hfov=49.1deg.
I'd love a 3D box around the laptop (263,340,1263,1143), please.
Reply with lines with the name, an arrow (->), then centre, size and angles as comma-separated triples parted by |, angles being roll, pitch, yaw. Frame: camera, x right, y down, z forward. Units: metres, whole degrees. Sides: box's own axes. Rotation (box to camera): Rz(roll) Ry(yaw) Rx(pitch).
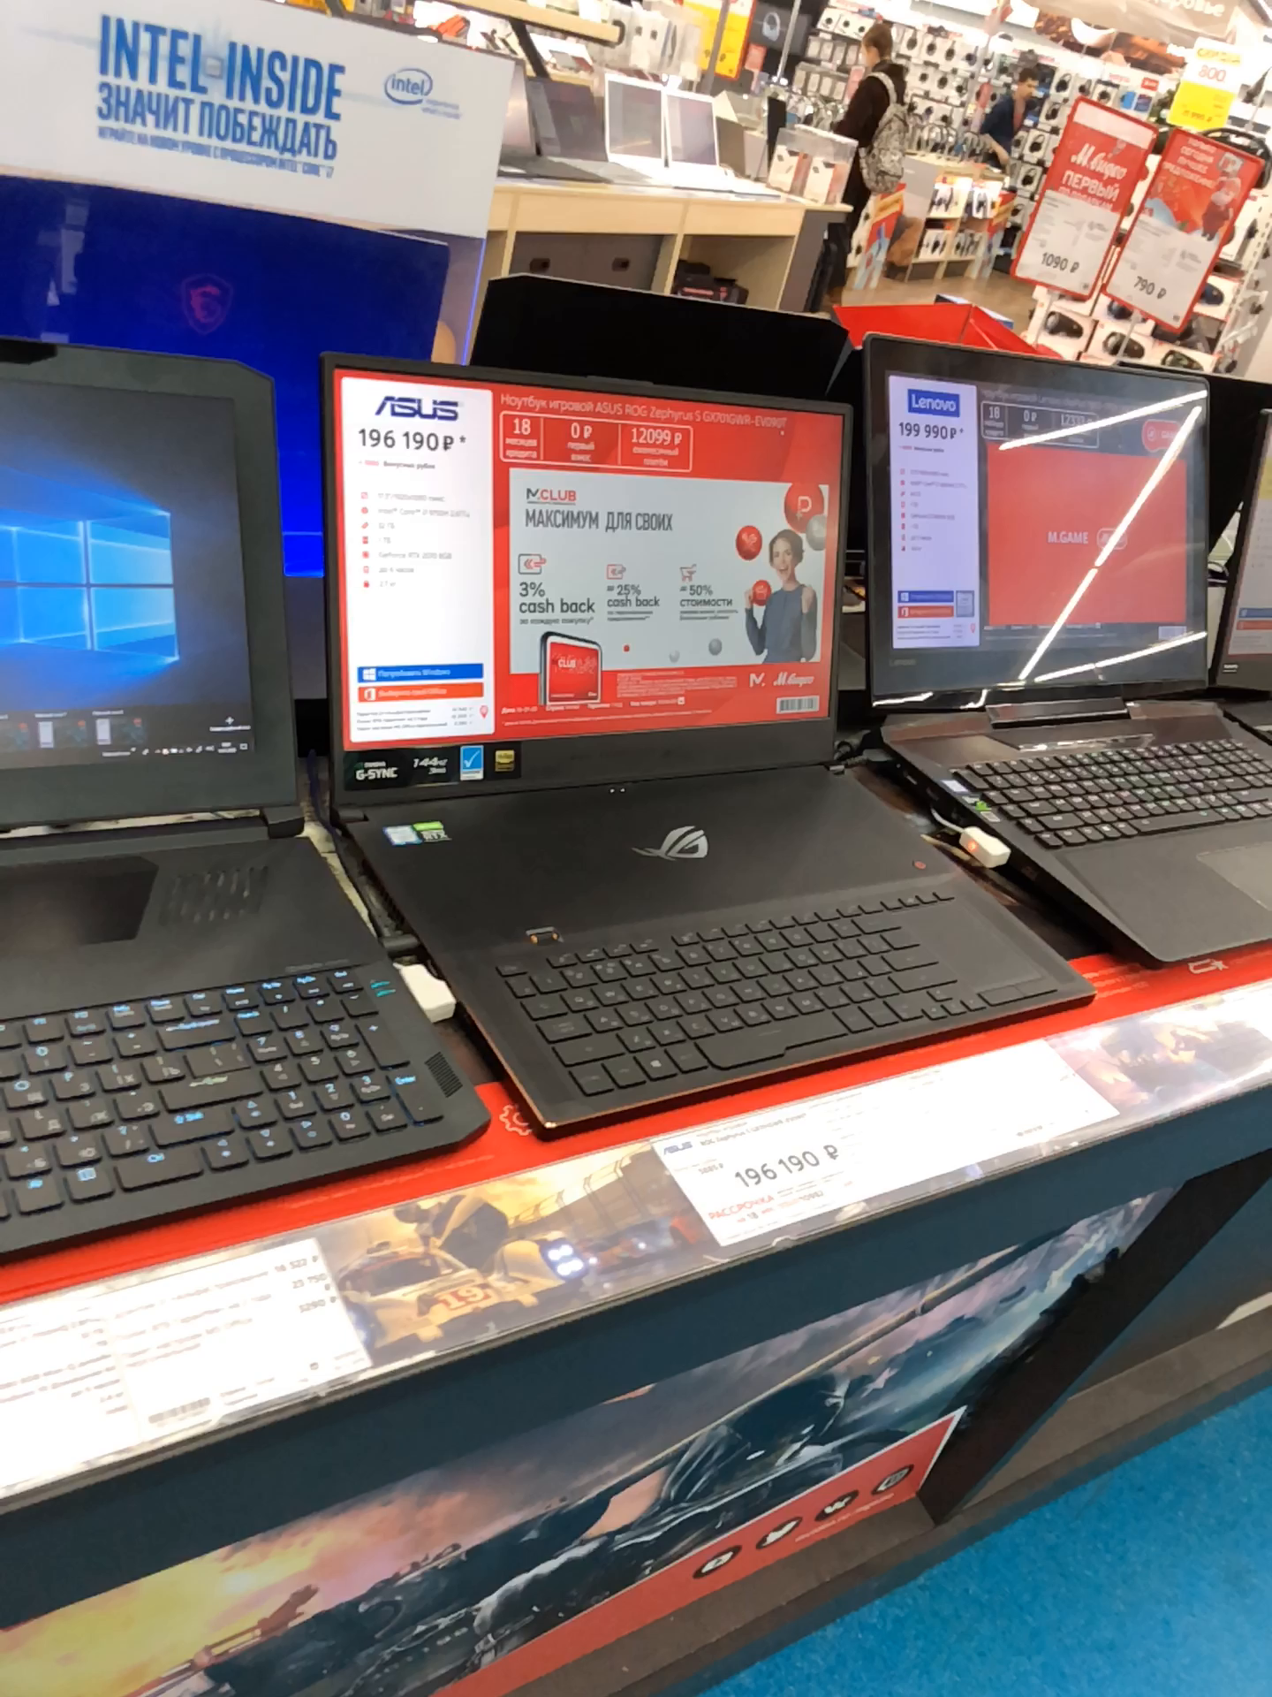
laptop -> 0.049, -0.092, 0.811 | 0.392, 0.240, 0.378 | -7, 38, -35

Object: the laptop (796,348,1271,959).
laptop -> 0.426, -0.173, 1.058 | 0.375, 0.248, 0.413 | -7, 38, -31
